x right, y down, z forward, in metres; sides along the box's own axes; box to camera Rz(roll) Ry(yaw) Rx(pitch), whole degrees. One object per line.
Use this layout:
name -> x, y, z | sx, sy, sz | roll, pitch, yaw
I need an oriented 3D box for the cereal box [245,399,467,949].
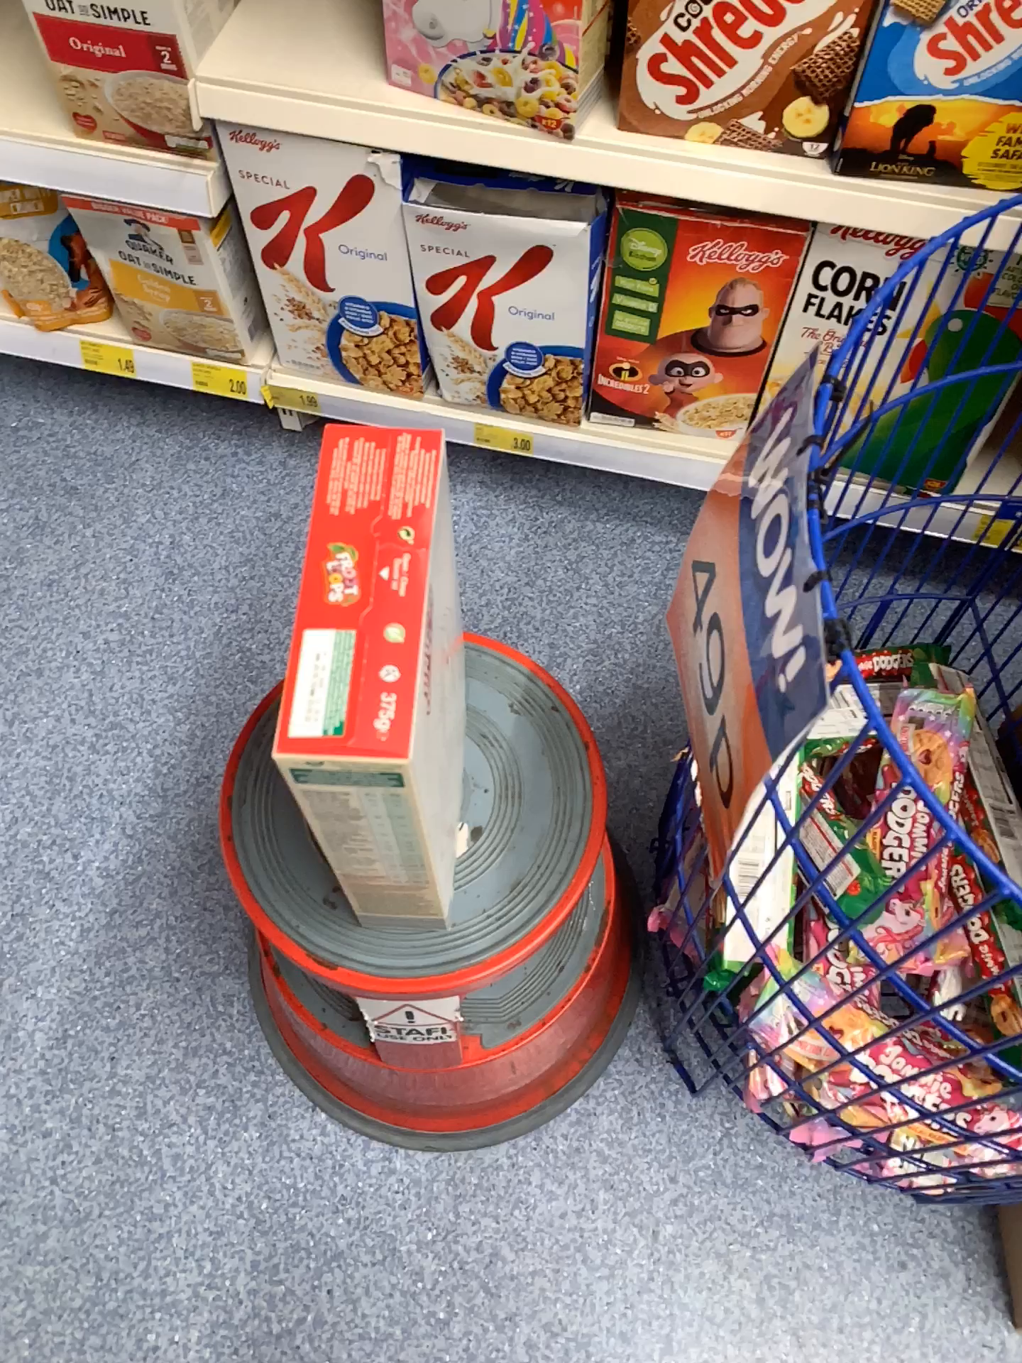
cereal box -> -0.073, 0.016, 0.610 | 0.070, 0.288, 0.211 | 3, 62, 1
